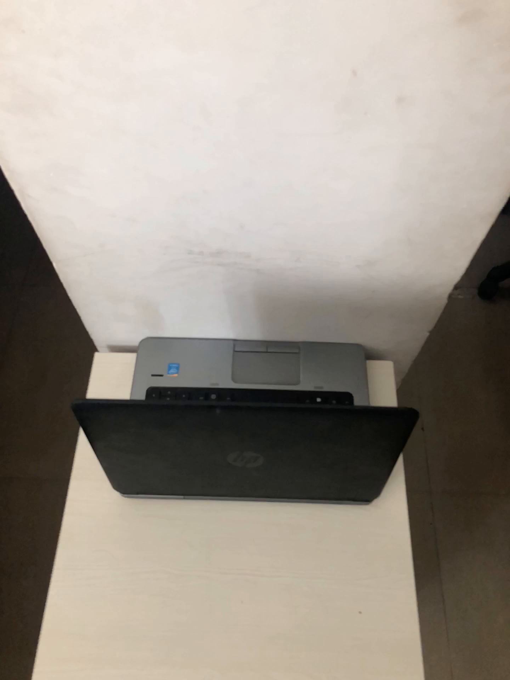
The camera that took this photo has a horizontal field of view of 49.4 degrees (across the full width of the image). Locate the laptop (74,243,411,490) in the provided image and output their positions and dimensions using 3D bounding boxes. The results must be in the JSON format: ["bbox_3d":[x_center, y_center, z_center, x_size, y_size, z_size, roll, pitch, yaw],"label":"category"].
[{"bbox_3d":[-0.007,0.044,0.664,0.317,0.226,0.205,2,63,1],"label":"laptop"}]
